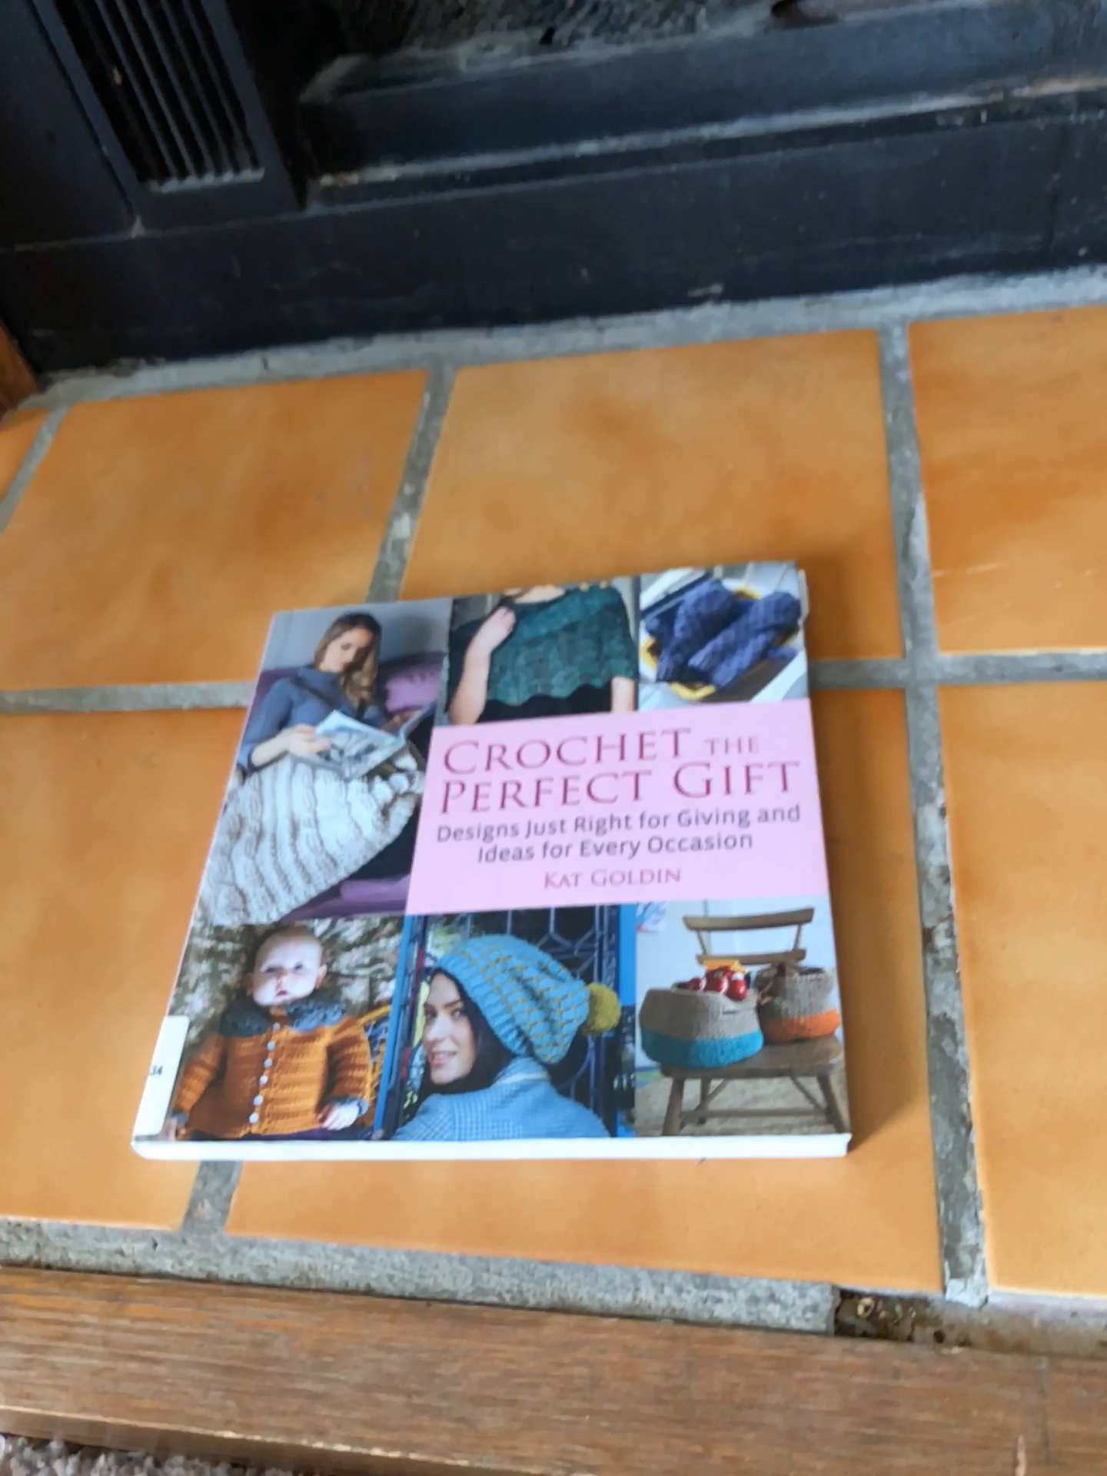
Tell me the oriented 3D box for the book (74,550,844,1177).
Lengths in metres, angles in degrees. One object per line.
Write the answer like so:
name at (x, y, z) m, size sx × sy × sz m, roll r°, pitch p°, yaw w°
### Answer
book at (-0.024, 0.032, 0.415) m, size 0.217 × 0.020 × 0.221 m, roll -4°, pitch 51°, yaw 10°
